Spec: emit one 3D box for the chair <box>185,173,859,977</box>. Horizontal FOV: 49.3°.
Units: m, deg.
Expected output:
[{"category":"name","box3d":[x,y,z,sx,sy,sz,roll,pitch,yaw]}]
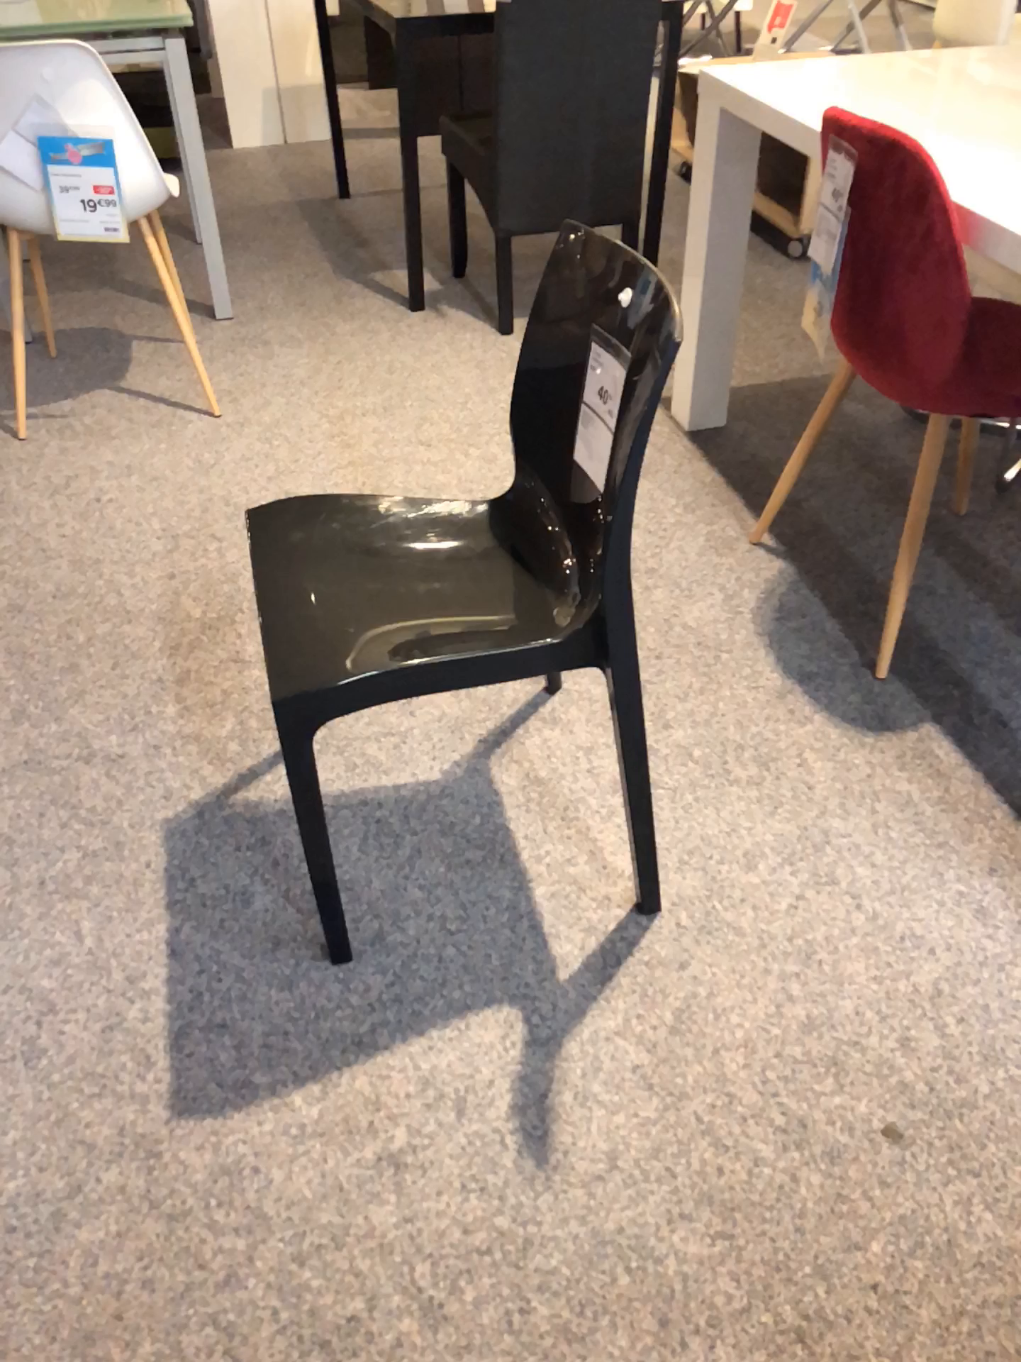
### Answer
[{"category":"chair","box3d":[-0.033,-0.138,1.392,0.571,0.765,0.522,-10,41,-13]}]
